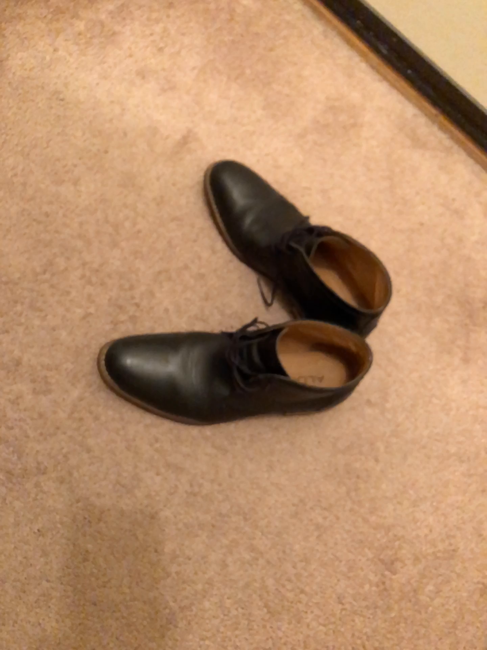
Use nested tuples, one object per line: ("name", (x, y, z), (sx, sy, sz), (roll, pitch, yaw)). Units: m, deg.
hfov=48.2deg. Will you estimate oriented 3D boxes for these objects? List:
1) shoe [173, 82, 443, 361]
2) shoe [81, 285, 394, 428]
("shoe", (0.066, -0.119, 0.668), (0.302, 0.136, 0.116), (46, 68, 4))
("shoe", (-0.013, 0.041, 0.593), (0.302, 0.136, 0.116), (1, 72, -13))
